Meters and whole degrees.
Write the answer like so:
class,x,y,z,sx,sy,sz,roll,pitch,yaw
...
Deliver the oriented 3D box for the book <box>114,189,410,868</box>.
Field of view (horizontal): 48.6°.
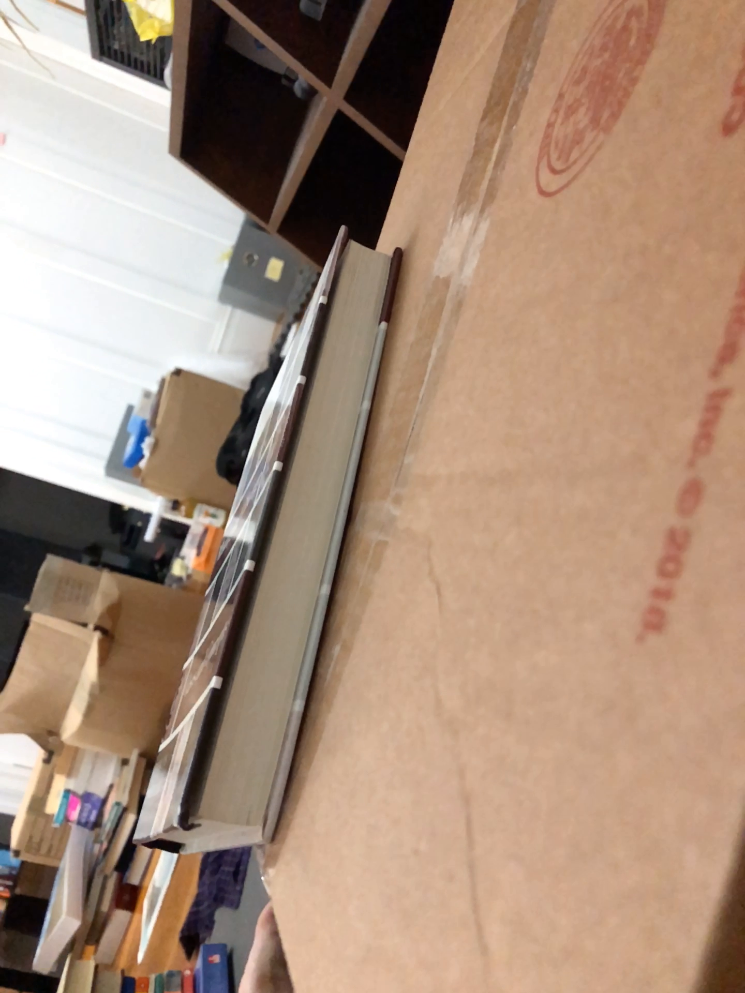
class,x,y,z,sx,sy,sz,roll,pitch,yaw
book,-0.051,0.023,0.358,0.180,0.030,0.250,132,153,-58
